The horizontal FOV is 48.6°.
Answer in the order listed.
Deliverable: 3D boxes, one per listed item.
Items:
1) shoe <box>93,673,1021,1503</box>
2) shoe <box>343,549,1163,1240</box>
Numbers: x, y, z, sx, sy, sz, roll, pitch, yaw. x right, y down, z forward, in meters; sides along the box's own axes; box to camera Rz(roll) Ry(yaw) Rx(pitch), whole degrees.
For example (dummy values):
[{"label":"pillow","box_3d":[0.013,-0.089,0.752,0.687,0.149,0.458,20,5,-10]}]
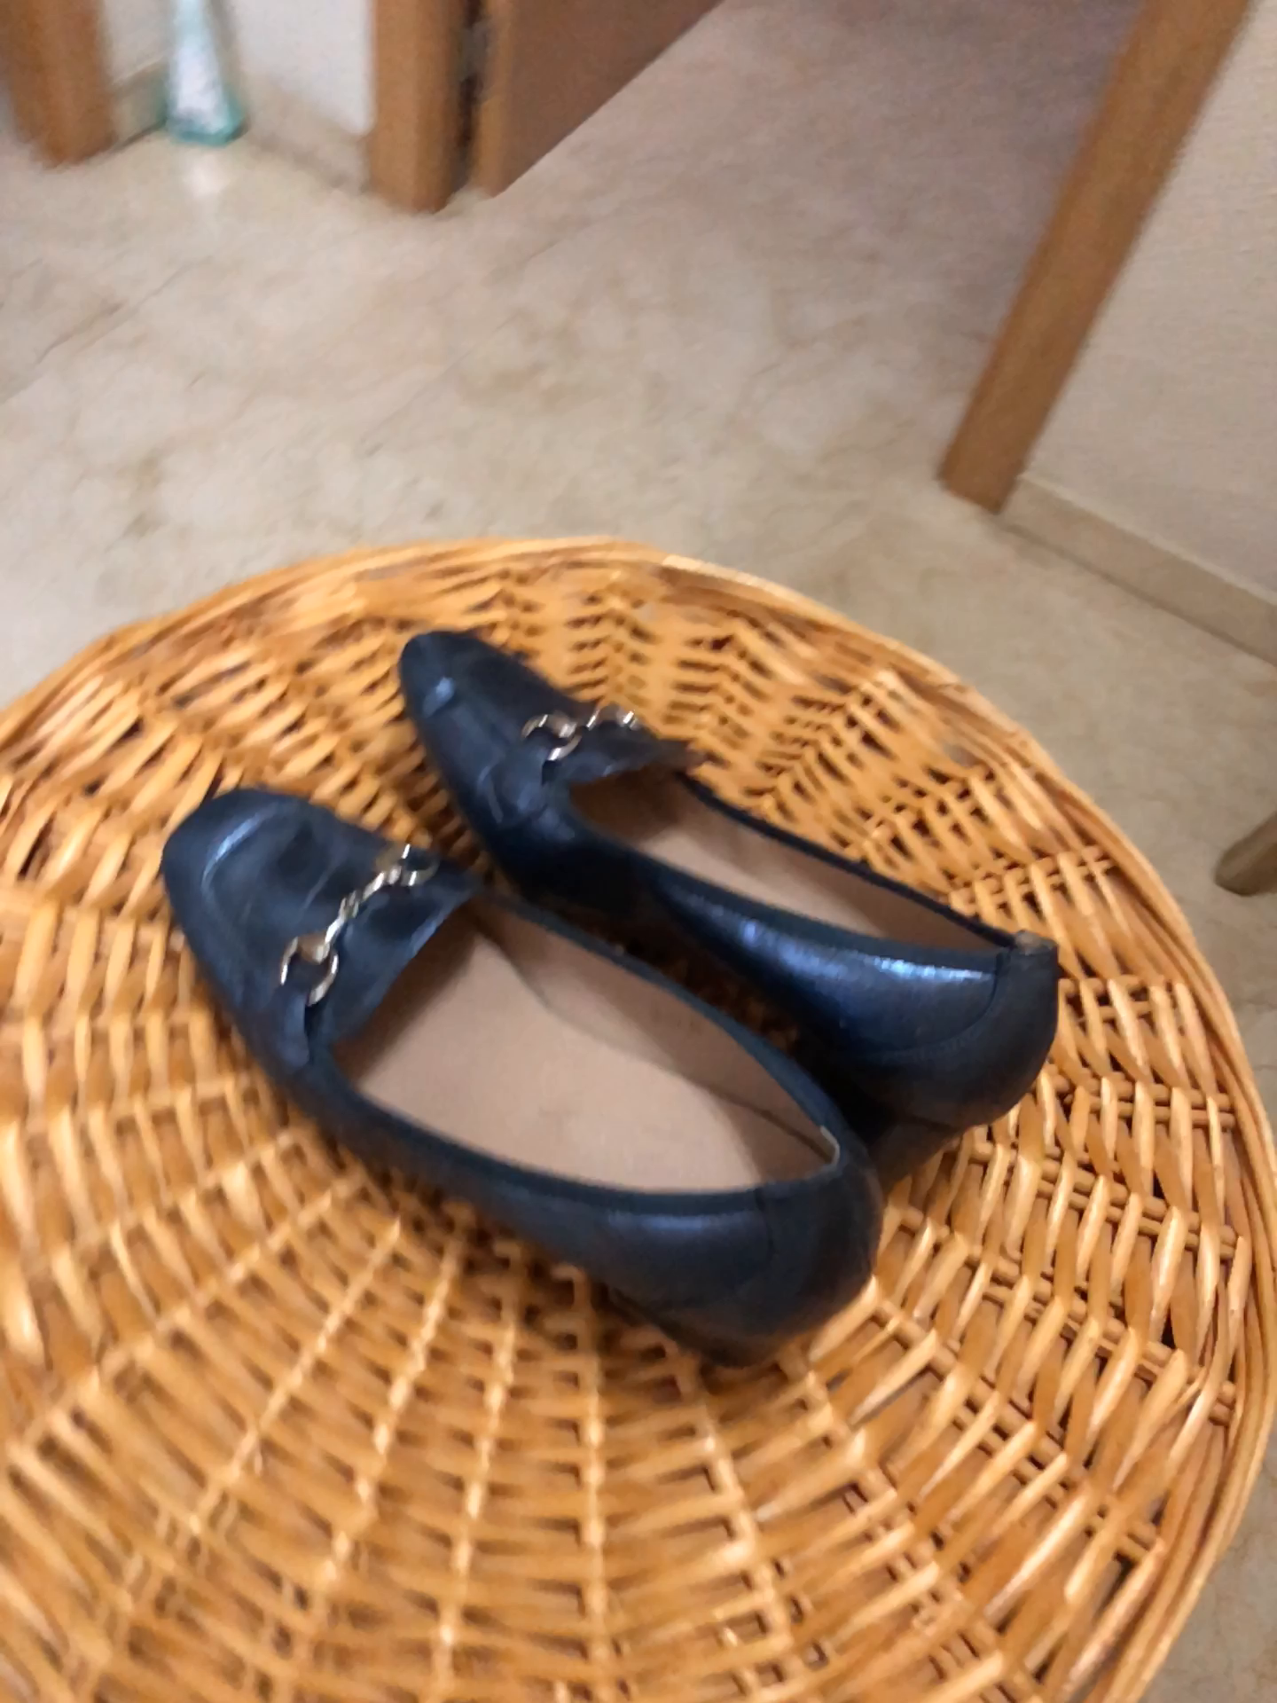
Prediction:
[{"label":"shoe","box_3d":[-0.034,0.054,0.419,0.260,0.090,0.090,30,48,26]},{"label":"shoe","box_3d":[0.025,-0.001,0.472,0.250,0.090,0.100,31,47,30]}]
